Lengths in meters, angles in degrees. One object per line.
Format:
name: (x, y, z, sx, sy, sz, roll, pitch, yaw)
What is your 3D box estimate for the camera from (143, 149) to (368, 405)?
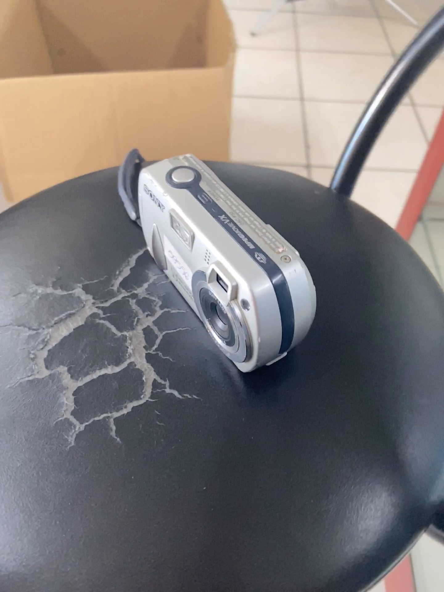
camera: (0.008, -0.012, 0.205, 0.040, 0.050, 0.100, -25, 56, -21)
